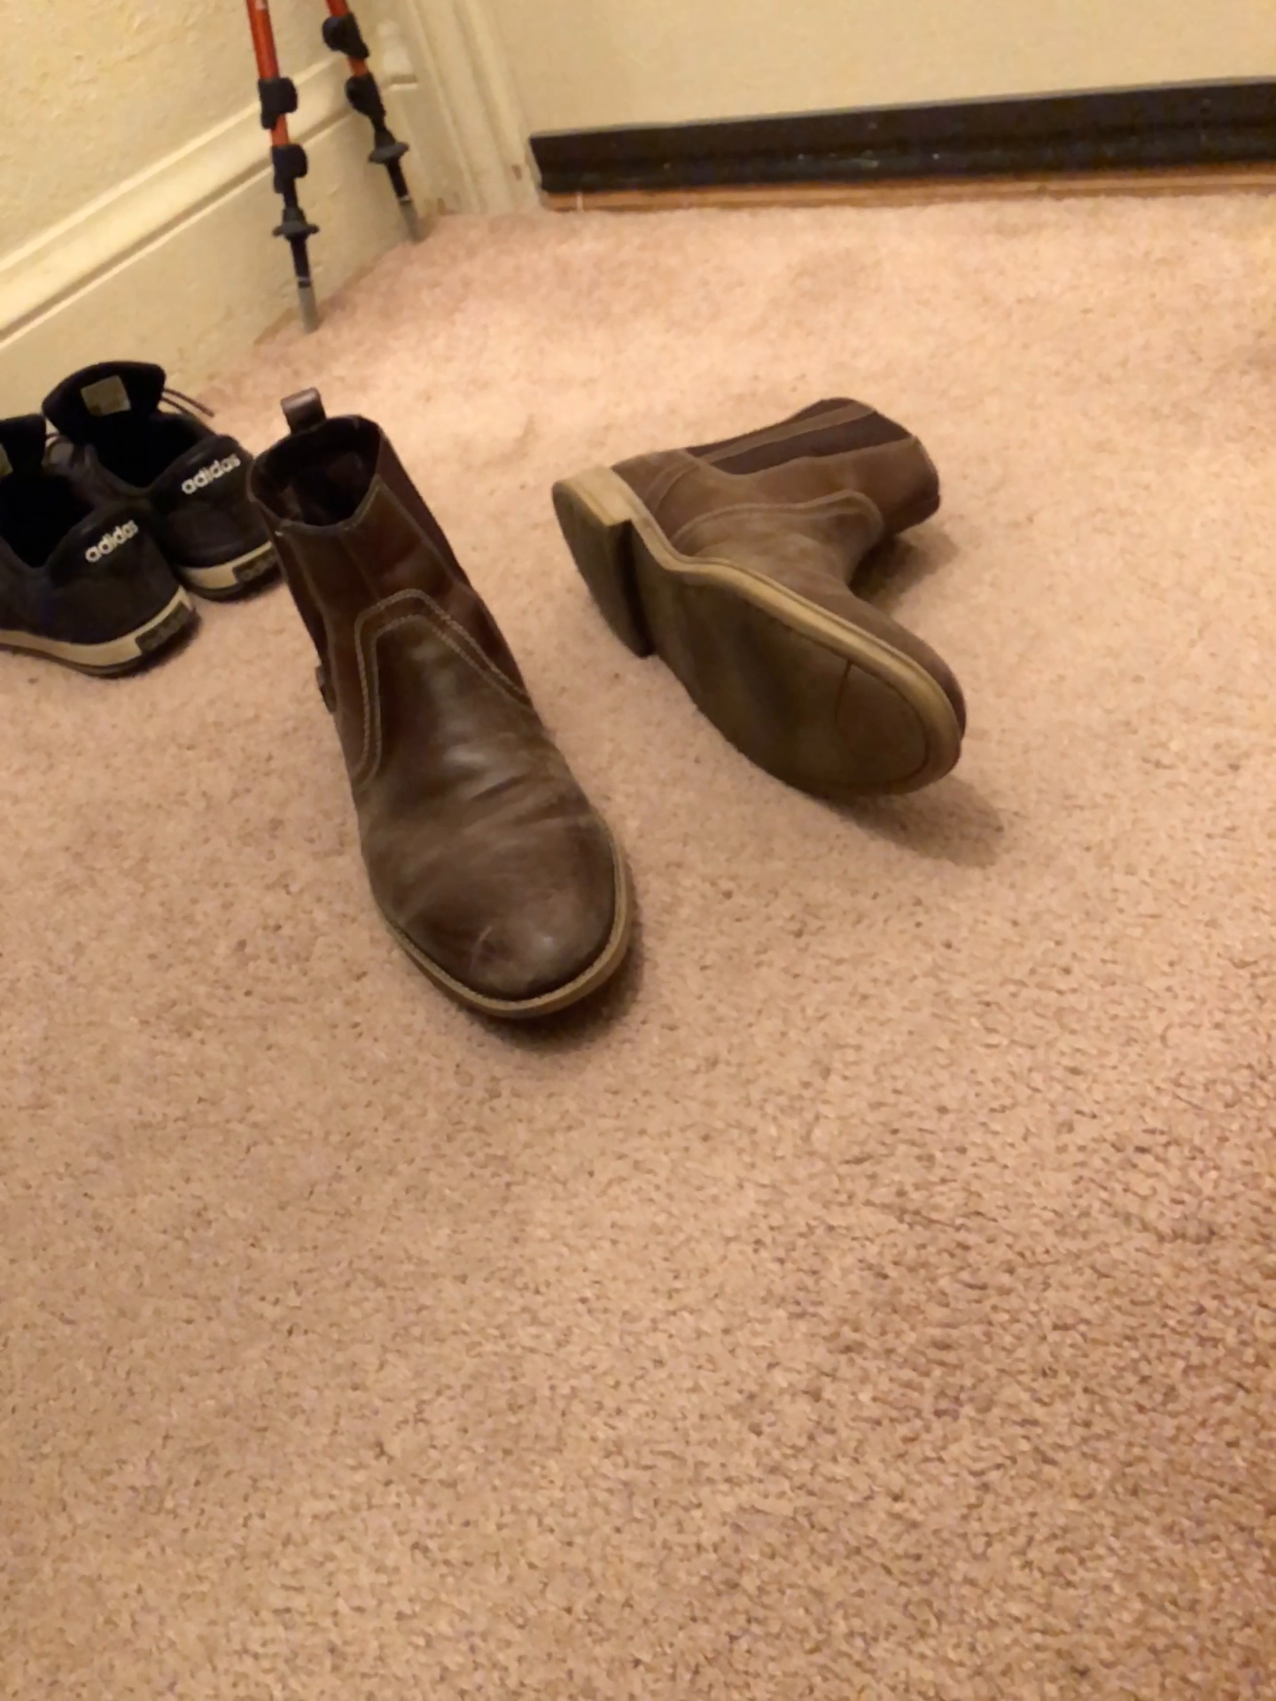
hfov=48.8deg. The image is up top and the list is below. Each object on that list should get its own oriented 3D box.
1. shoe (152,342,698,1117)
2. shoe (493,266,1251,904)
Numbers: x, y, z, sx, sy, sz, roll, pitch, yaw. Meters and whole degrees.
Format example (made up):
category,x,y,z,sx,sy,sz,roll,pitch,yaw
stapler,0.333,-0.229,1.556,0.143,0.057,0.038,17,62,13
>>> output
category,x,y,z,sx,sy,sz,roll,pitch,yaw
shoe,-0.103,-0.070,0.619,0.115,0.175,0.310,-25,42,-5
shoe,0.095,-0.146,0.667,0.186,0.114,0.315,-32,44,-11
